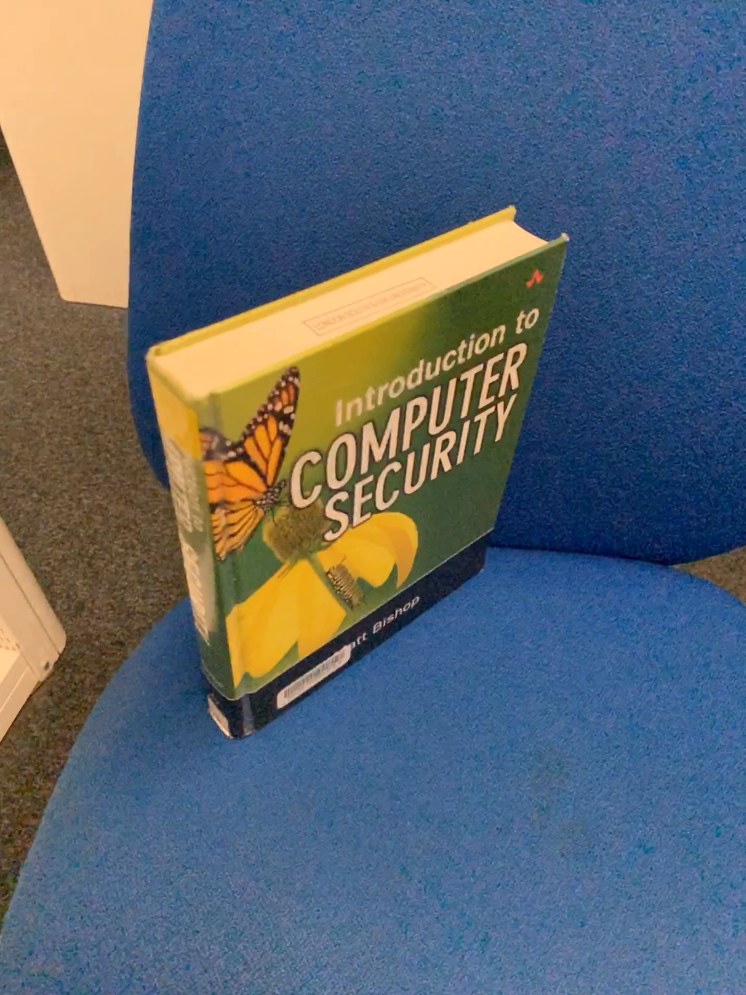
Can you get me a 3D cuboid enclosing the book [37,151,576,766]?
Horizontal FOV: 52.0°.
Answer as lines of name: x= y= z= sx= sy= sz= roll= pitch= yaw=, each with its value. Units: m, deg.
book: x=-0.017 y=0.000 z=0.390 sx=0.211 sy=0.277 sz=0.050 roll=-31 pitch=57 yaw=-25
